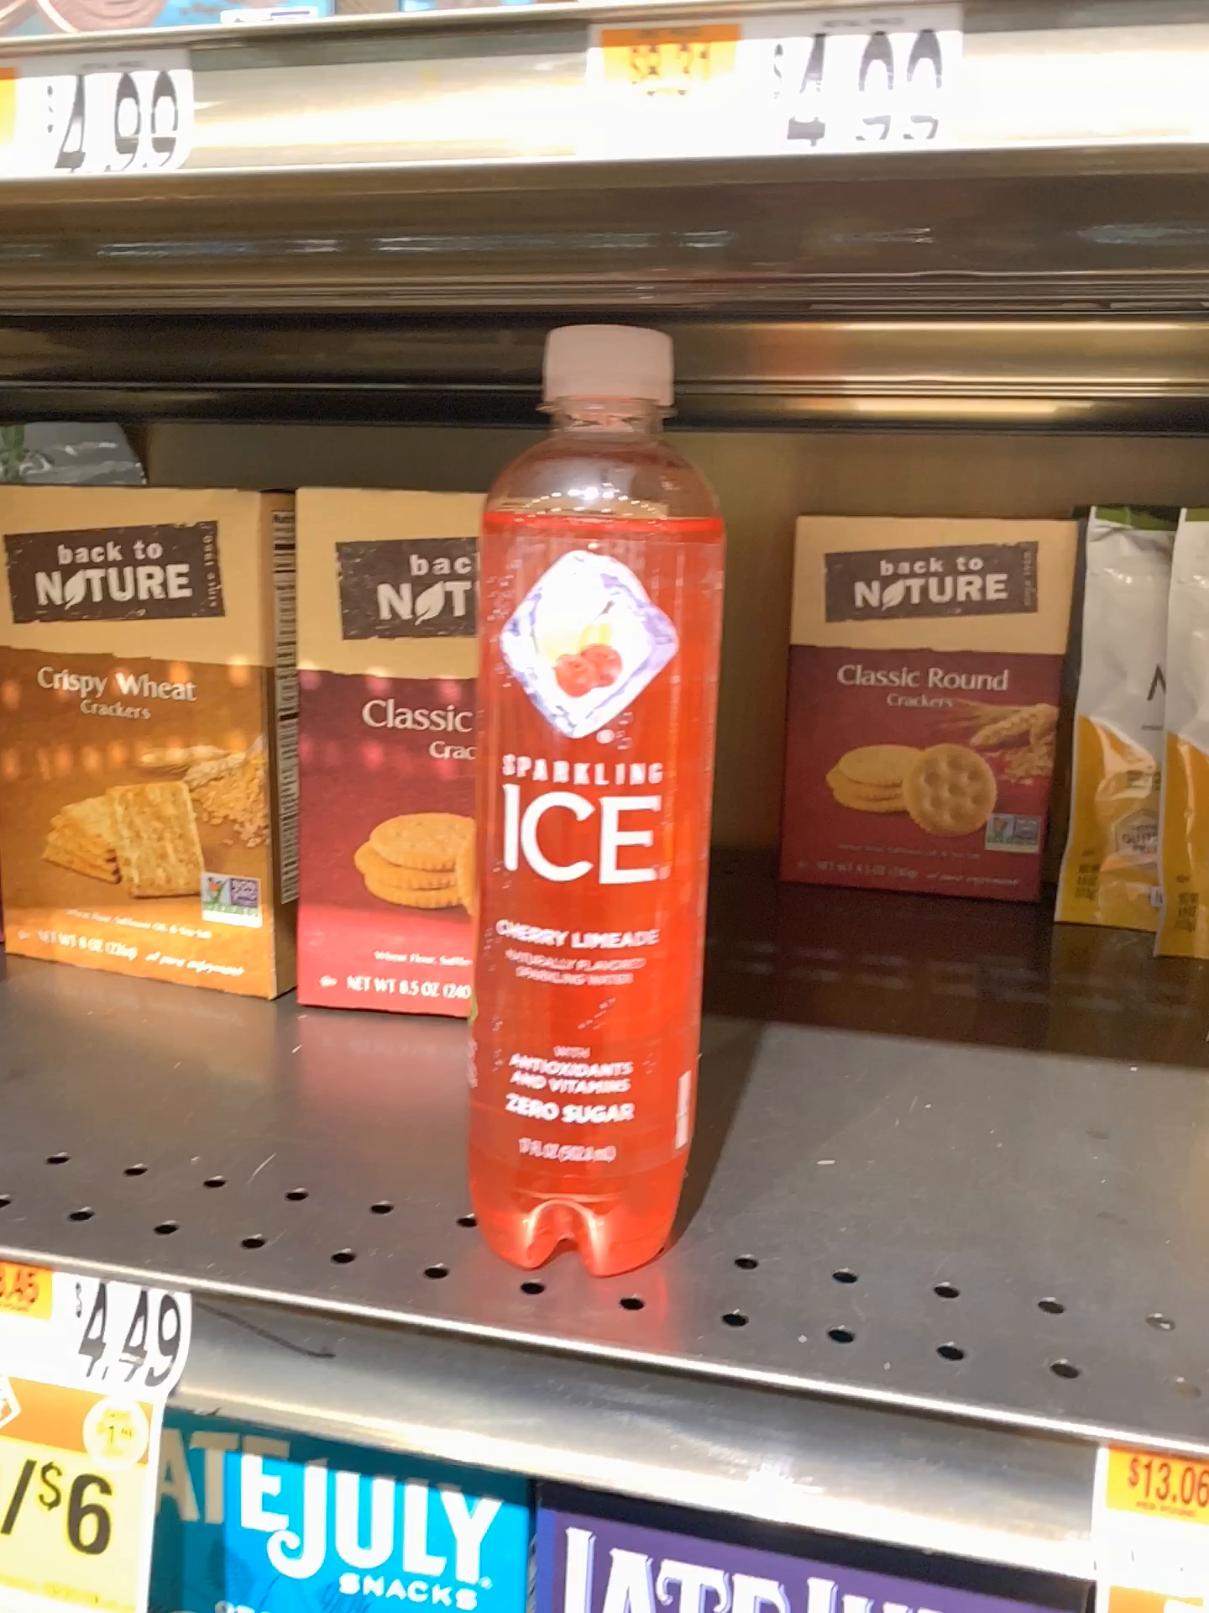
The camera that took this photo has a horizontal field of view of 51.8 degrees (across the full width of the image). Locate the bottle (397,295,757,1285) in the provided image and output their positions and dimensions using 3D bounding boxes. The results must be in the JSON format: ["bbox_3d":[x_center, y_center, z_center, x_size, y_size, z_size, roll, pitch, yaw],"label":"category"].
[{"bbox_3d":[-0.006,-0.003,0.292,0.065,0.211,0.060,2,14,0],"label":"bottle"}]
